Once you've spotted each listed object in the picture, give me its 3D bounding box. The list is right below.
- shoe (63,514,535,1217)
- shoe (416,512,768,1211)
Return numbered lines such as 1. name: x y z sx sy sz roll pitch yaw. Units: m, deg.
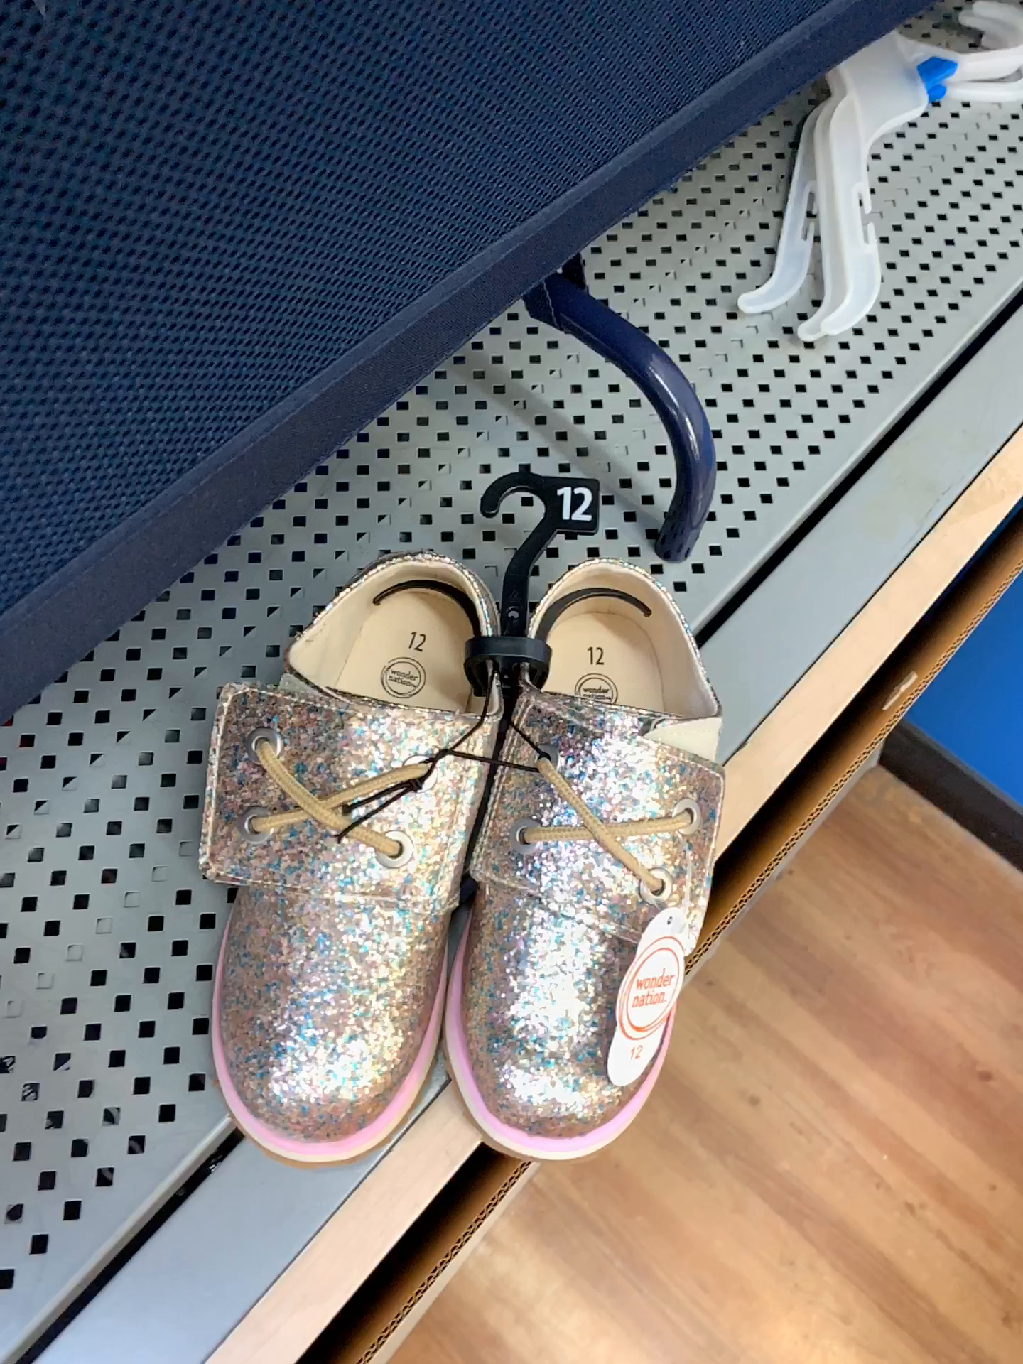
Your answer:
1. shoe: -0.056 0.055 0.344 0.083 0.070 0.199 12 65 2
2. shoe: 0.030 0.053 0.346 0.086 0.060 0.205 9 64 0
